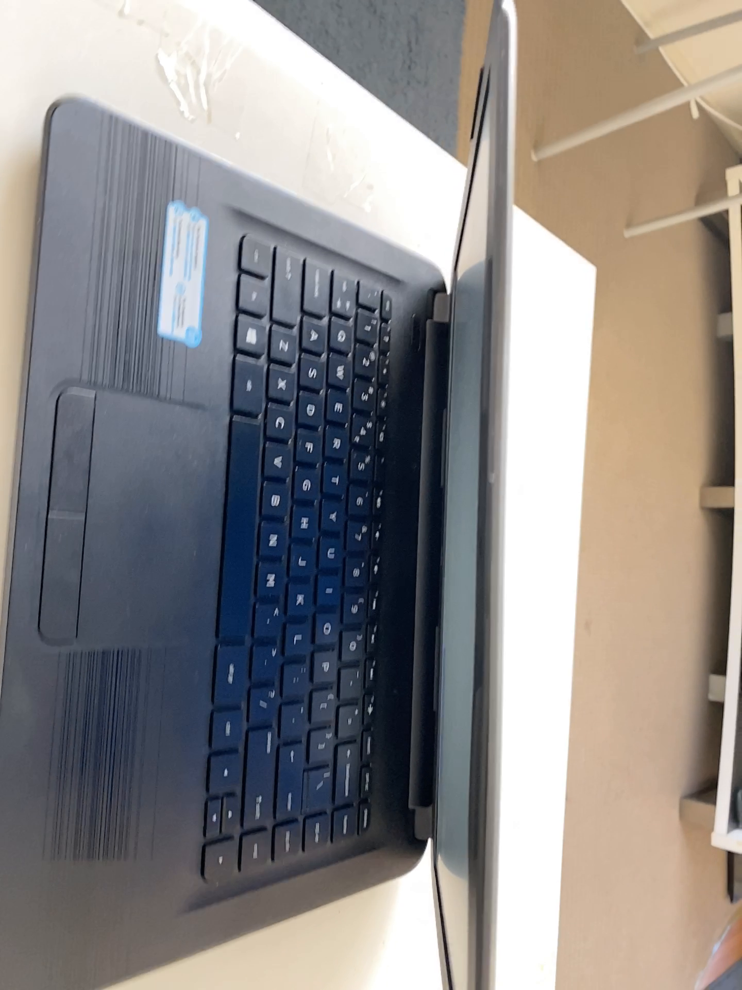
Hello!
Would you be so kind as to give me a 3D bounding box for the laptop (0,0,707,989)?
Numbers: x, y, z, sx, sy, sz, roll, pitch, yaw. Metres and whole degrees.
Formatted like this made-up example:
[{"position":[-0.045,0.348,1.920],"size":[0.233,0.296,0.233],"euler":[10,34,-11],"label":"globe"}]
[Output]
[{"position":[0.010,0.028,0.301],"size":[0.227,0.154,0.335],"euler":[8,82,-46],"label":"laptop"}]
